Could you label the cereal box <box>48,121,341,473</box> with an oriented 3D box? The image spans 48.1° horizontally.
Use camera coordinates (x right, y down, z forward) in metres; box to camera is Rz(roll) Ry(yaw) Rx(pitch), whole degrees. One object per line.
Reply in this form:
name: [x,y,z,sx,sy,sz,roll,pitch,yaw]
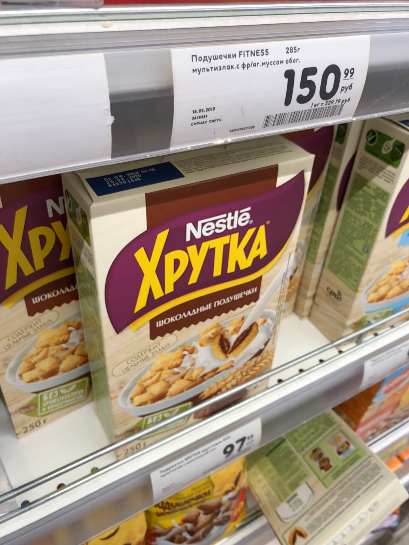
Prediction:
cereal box: [-0.004,0.023,0.312,0.160,0.219,0.040,-18,41,-26]
